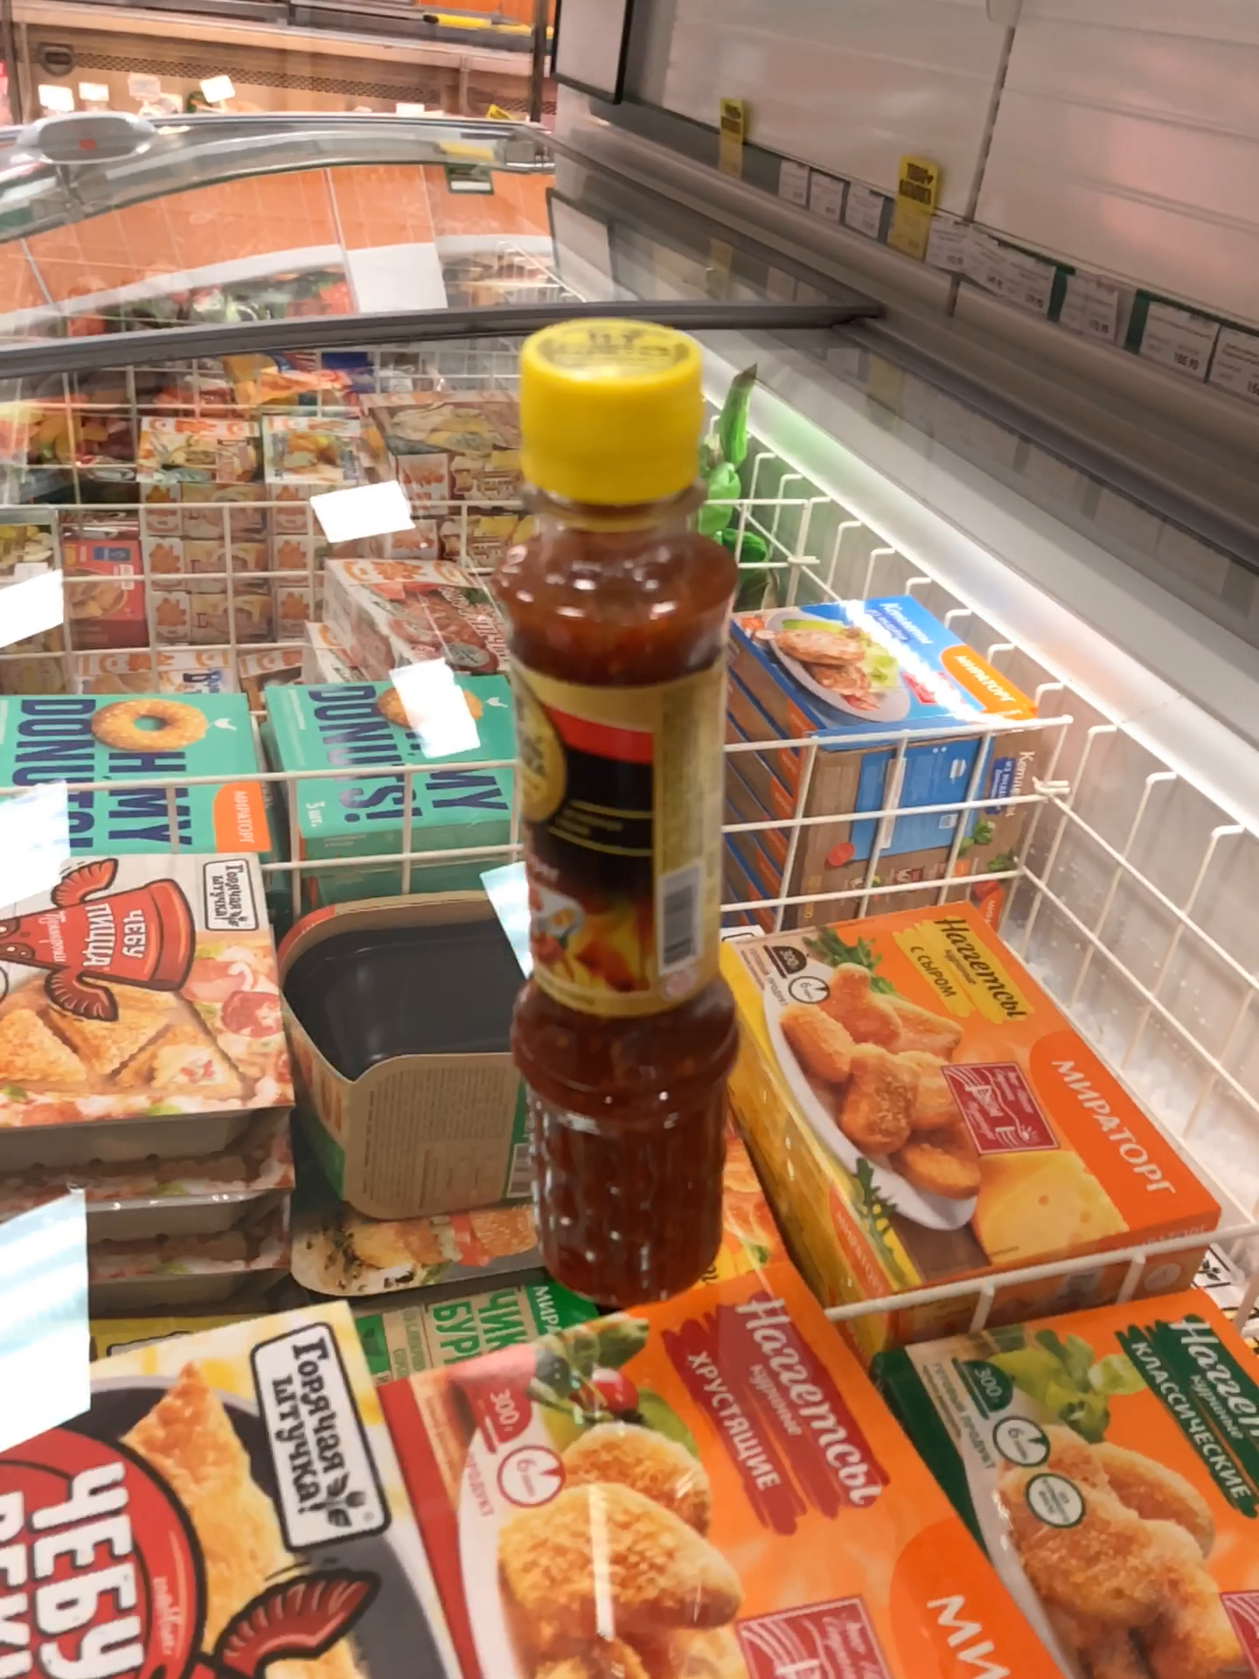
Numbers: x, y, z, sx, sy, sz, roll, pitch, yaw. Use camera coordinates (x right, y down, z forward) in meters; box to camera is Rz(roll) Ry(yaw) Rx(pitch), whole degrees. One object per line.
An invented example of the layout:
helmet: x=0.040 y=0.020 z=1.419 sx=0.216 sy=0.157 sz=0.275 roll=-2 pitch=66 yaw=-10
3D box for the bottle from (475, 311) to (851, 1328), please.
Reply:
bottle: x=0.002 y=0.008 z=0.288 sx=0.047 sy=0.212 sz=0.048 roll=1 pitch=33 yaw=-1
